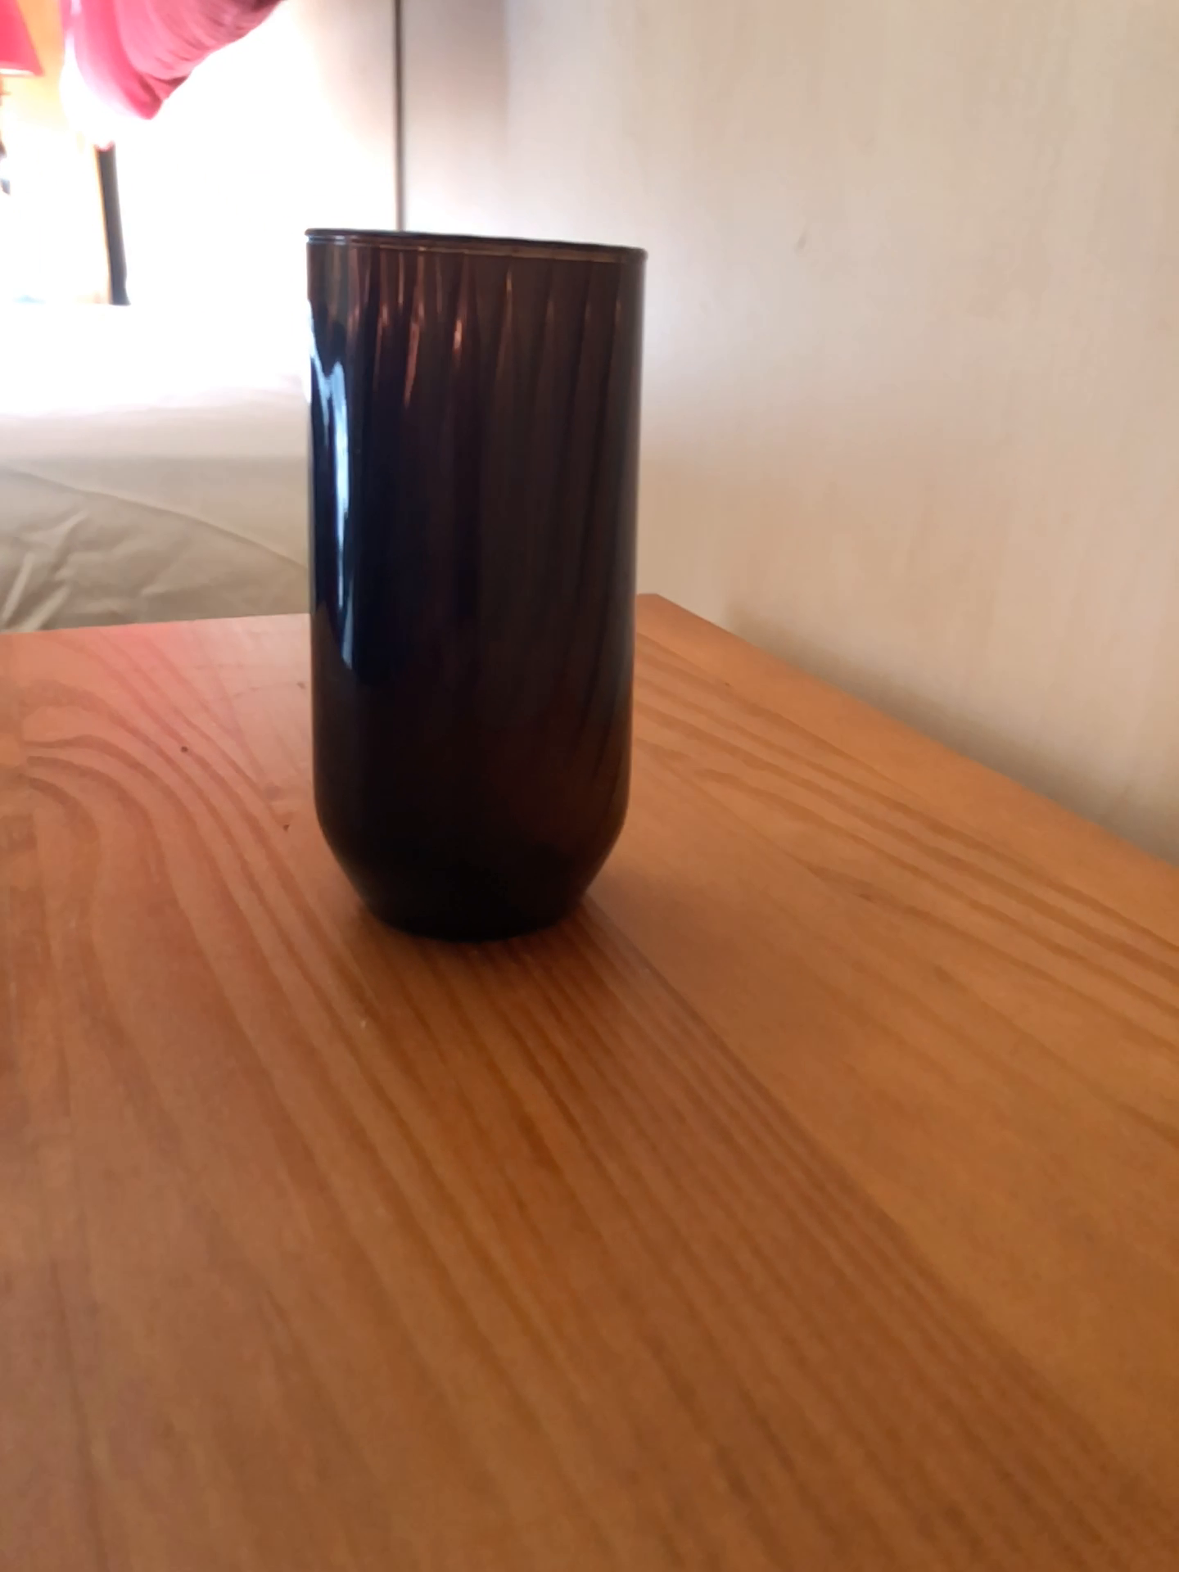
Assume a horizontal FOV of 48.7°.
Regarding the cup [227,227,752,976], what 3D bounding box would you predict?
[{"bbox_3d":[-0.019,-0.037,0.233,0.061,0.112,0.060,2,22,-1],"label":"cup"}]
